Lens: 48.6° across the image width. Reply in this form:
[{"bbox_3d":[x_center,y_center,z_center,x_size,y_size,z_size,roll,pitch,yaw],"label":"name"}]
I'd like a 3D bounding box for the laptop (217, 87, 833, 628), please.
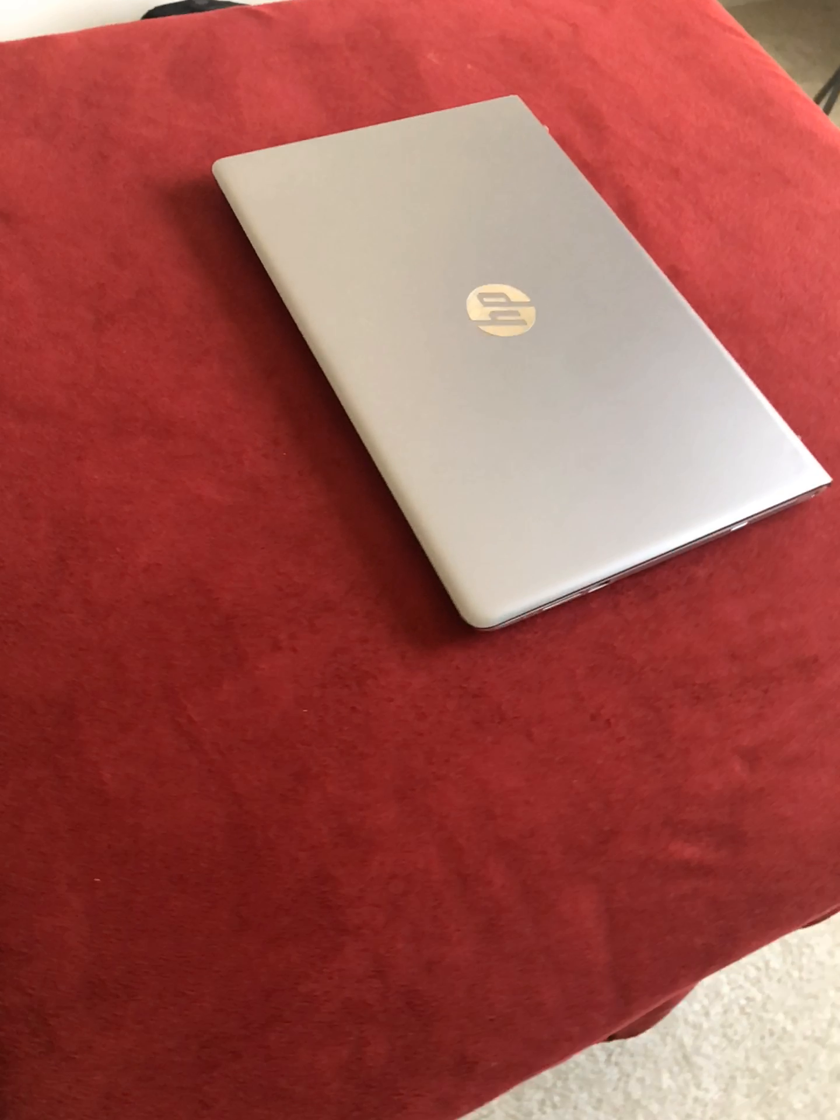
[{"bbox_3d":[0.053,-0.157,0.583,0.234,0.006,0.372,-22,66,-17],"label":"laptop"}]
